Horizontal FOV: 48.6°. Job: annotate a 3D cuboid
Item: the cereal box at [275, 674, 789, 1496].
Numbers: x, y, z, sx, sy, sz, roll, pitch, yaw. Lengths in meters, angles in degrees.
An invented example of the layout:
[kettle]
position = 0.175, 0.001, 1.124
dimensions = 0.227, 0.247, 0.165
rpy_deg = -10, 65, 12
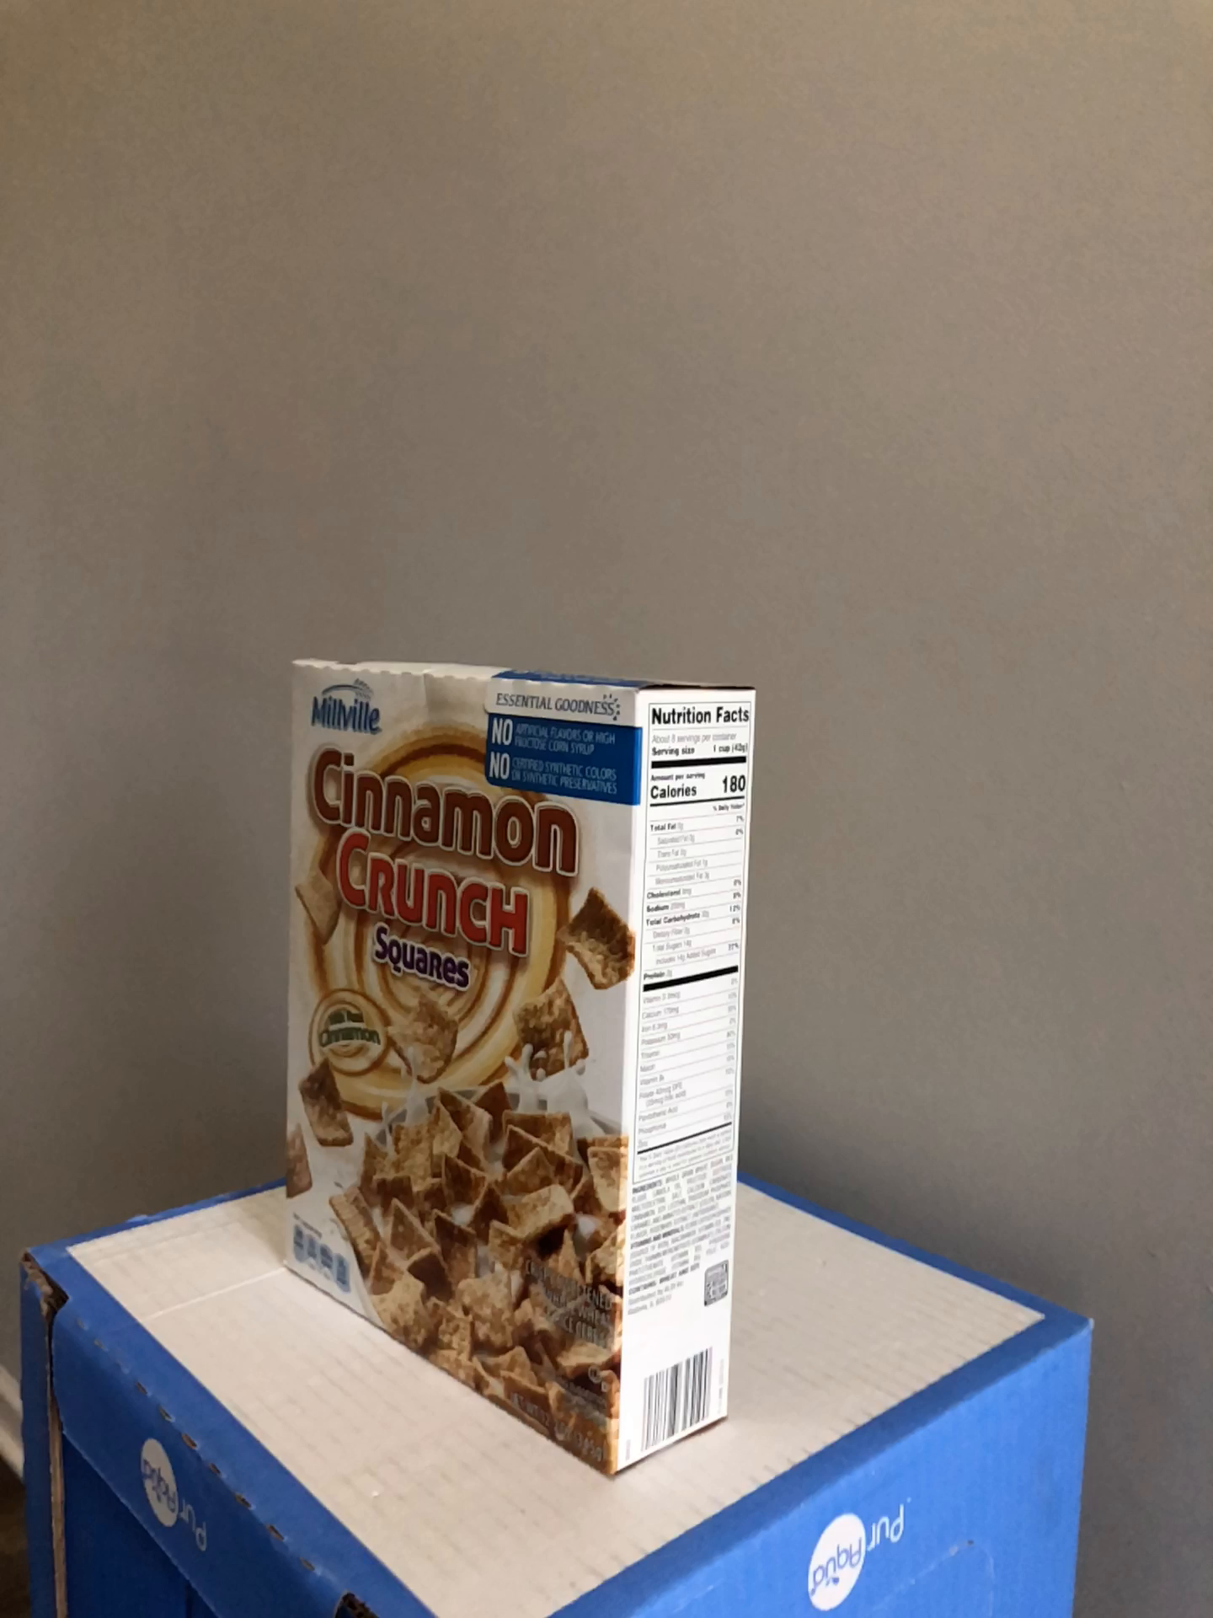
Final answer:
[cereal box]
position = -0.040, 0.078, 0.506
dimensions = 0.070, 0.250, 0.210
rpy_deg = -5, 9, -43
